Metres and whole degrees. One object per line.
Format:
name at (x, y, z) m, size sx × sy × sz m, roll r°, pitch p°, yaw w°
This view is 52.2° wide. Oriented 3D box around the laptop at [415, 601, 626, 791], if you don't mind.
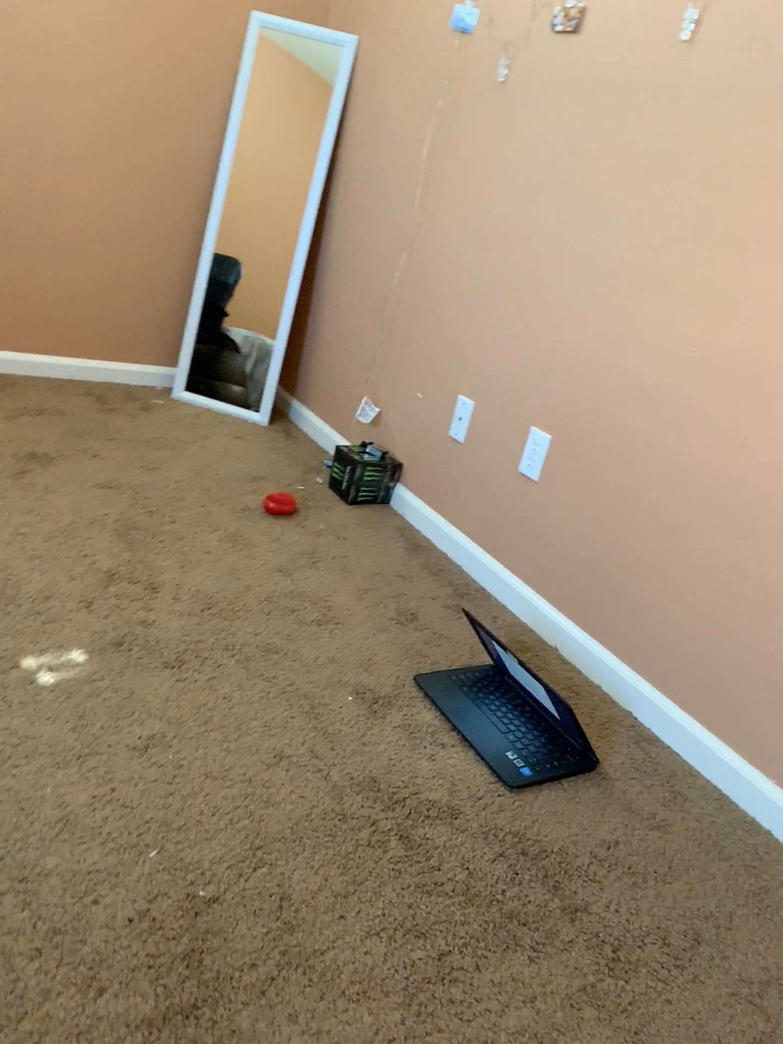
laptop at (0.209, 0.280, 1.362) m, size 0.192 × 0.140 × 0.293 m, roll -1°, pitch 27°, yaw -32°
